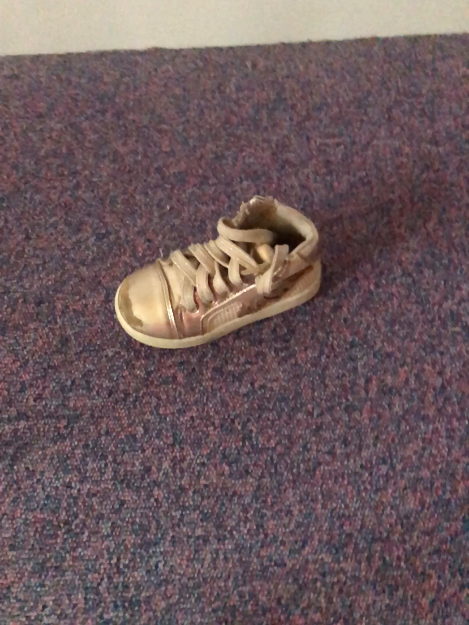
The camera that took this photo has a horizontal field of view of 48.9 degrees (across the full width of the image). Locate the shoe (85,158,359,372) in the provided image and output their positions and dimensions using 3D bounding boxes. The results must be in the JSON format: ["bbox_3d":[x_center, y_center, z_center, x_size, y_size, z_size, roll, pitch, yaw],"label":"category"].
[{"bbox_3d":[-0.009,-0.030,0.349,0.150,0.080,0.080,-16,67,-5],"label":"shoe"}]
